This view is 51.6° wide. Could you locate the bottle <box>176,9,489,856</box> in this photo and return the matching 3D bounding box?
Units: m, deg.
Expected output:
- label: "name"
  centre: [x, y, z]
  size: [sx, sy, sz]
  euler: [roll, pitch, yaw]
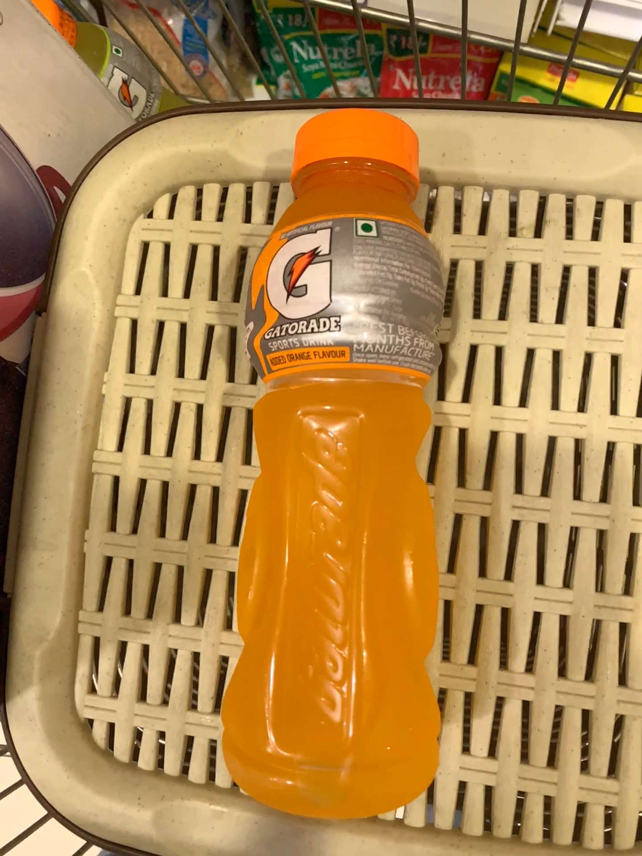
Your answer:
- label: "bottle"
  centre: [0.007, 0.000, 0.204]
  size: [0.060, 0.060, 0.210]
  euler: [0, 84, 37]
